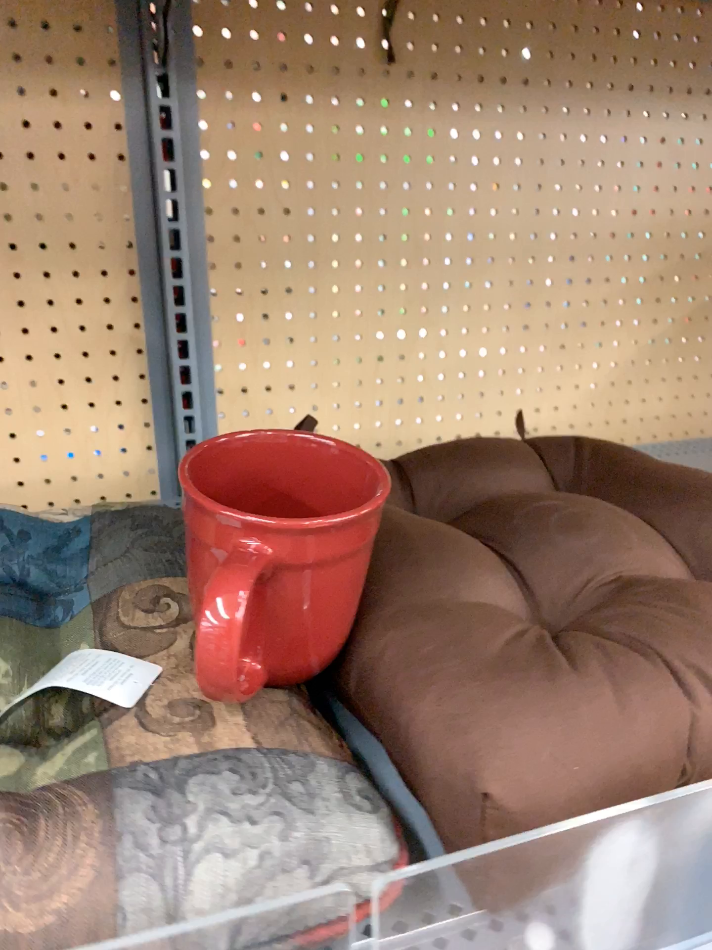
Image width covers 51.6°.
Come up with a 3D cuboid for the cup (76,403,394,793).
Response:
[{"bbox_3d":[-0.043,0.042,0.333,0.100,0.090,0.151,9,25,3],"label":"cup"}]
